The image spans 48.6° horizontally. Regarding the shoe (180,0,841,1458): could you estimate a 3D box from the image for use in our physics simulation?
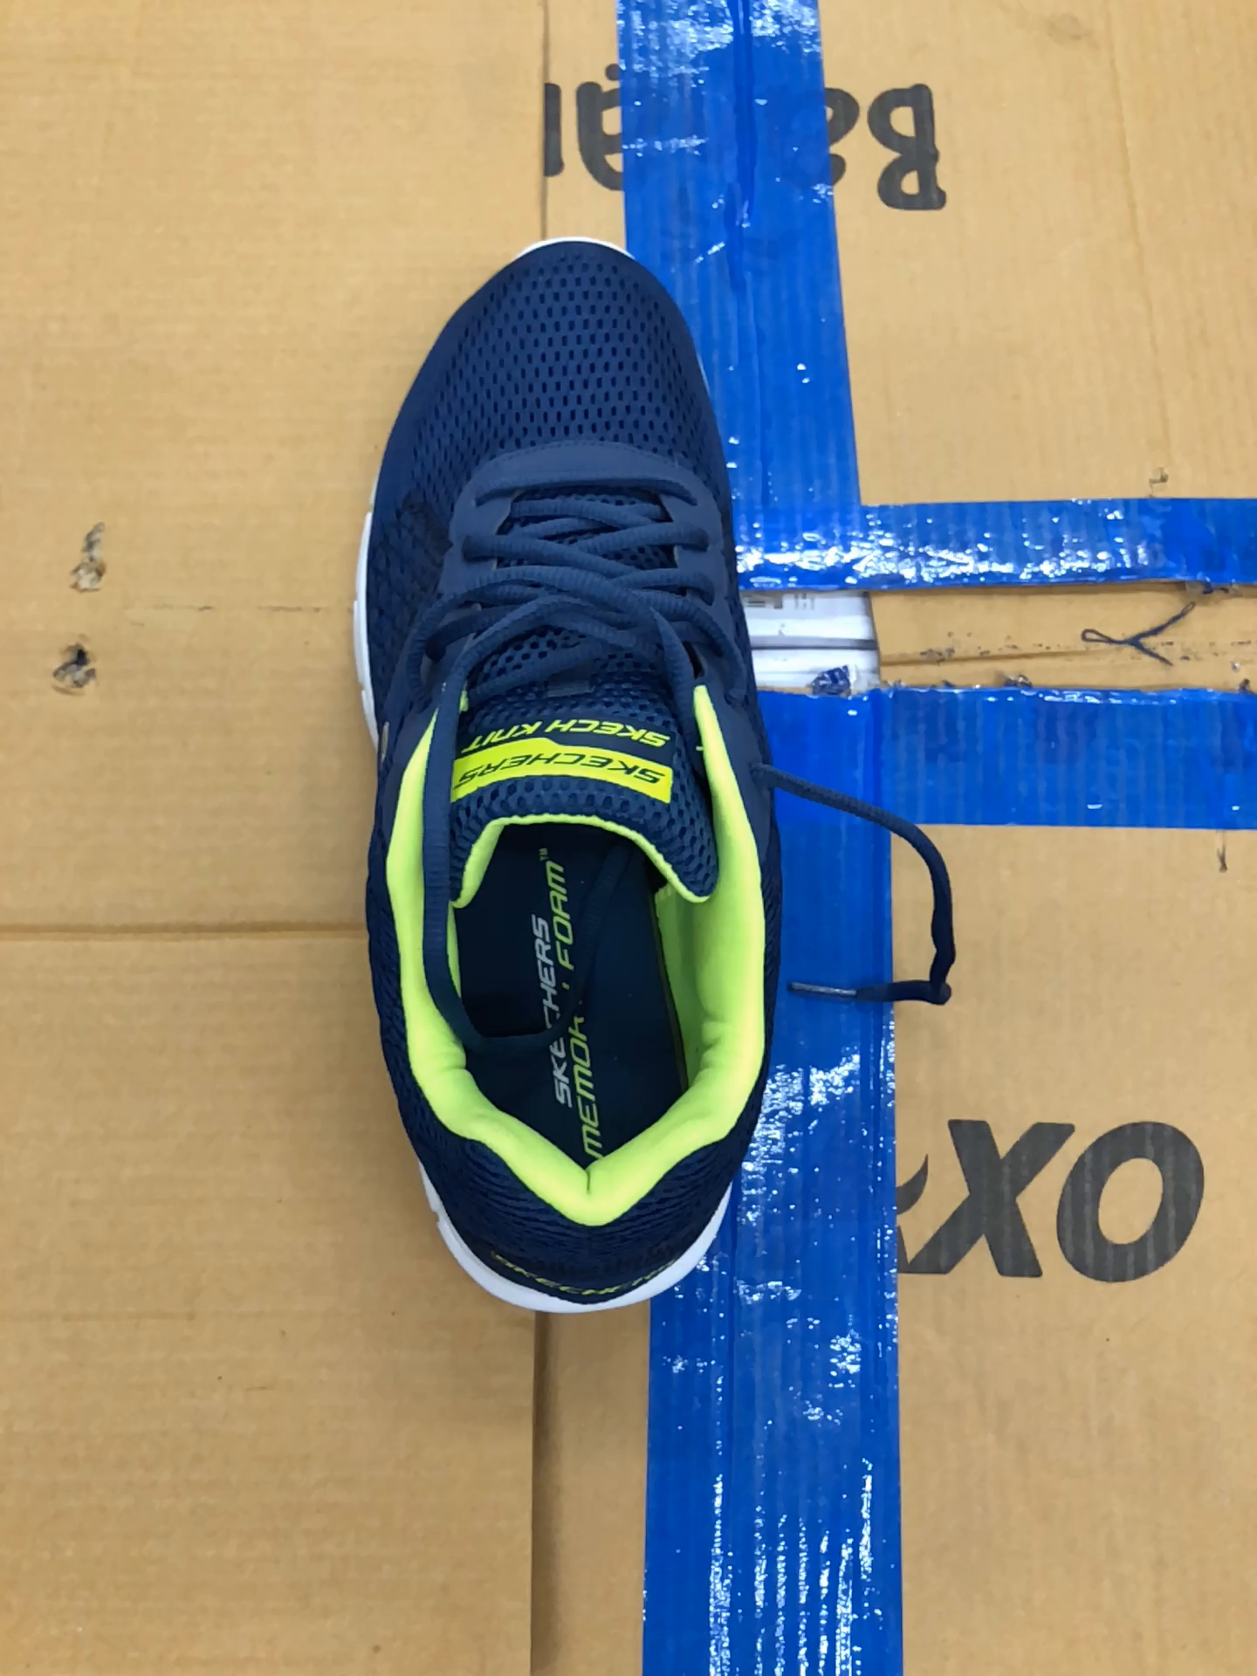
[{"bbox_3d":[-0.031,-0.027,0.332,0.110,0.130,0.290,-4,78,-2],"label":"shoe"}]
